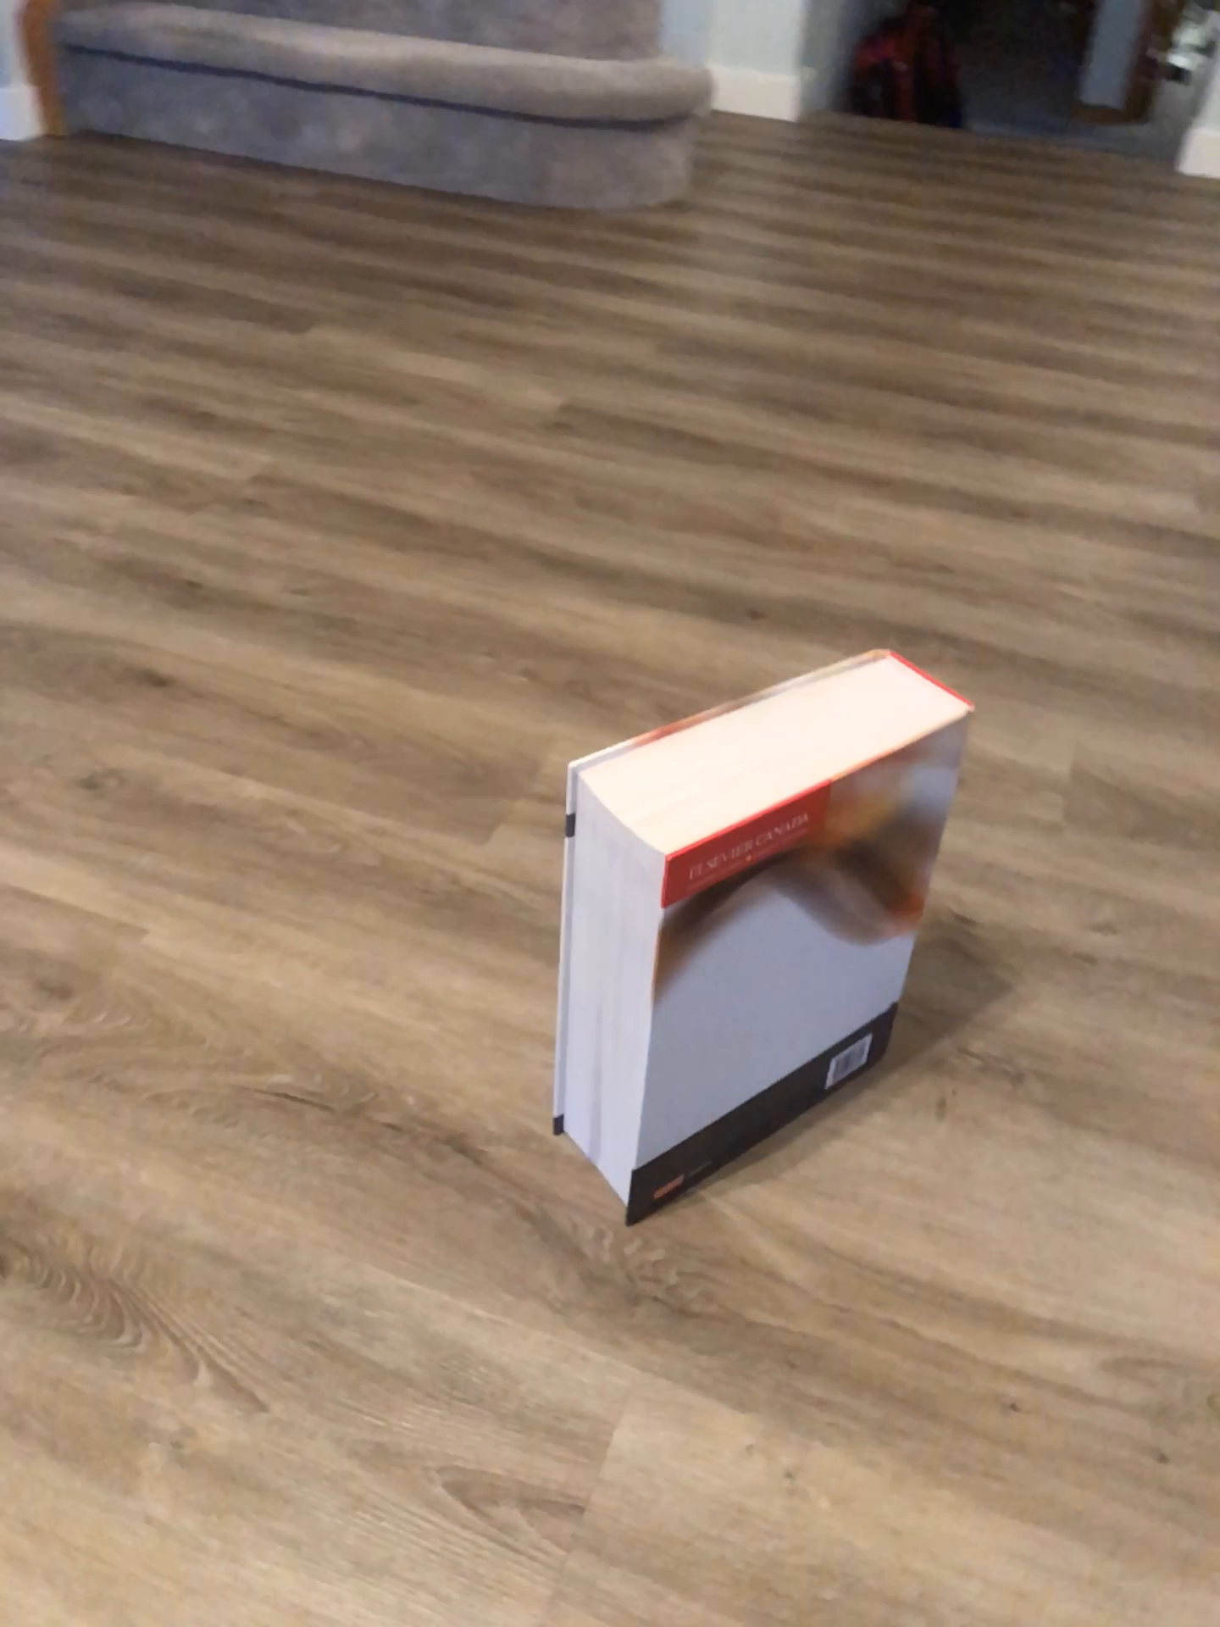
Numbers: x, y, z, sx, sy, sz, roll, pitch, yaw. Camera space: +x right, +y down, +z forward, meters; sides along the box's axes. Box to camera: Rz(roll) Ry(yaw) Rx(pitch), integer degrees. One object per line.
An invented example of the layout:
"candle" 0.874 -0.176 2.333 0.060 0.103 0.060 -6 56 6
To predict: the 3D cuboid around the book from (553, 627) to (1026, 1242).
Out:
"book" 0.094 0.069 0.776 0.240 0.290 0.087 -22 43 -30
